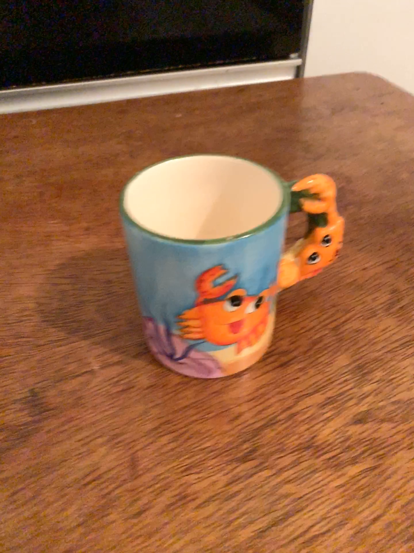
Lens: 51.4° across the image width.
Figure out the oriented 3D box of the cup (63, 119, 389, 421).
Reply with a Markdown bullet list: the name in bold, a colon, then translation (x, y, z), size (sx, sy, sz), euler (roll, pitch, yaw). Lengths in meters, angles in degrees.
- **cup**: translation (0.009, -0.009, 0.235), size (0.130, 0.099, 0.080), euler (-22, 46, -21)
